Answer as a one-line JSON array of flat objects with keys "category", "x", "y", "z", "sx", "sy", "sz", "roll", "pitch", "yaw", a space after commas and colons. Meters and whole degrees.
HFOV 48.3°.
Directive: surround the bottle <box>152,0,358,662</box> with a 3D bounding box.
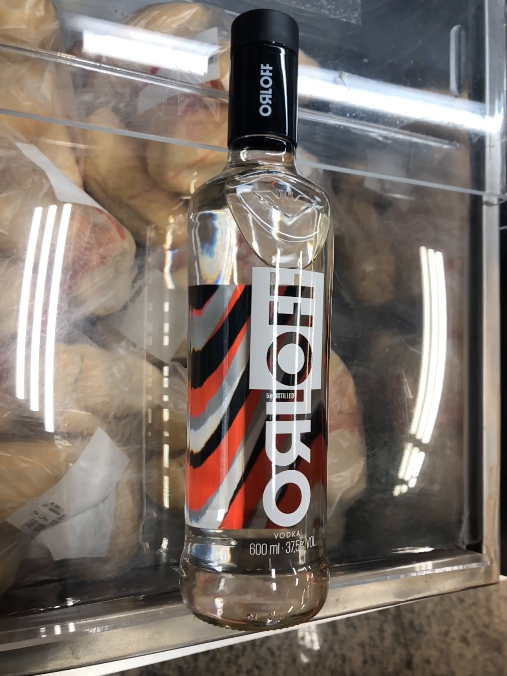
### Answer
[{"category": "bottle", "x": -0.002, "y": -0.020, "z": 0.274, "sx": 0.070, "sy": 0.070, "sz": 0.300, "roll": 2, "pitch": 88, "yaw": -23}]
